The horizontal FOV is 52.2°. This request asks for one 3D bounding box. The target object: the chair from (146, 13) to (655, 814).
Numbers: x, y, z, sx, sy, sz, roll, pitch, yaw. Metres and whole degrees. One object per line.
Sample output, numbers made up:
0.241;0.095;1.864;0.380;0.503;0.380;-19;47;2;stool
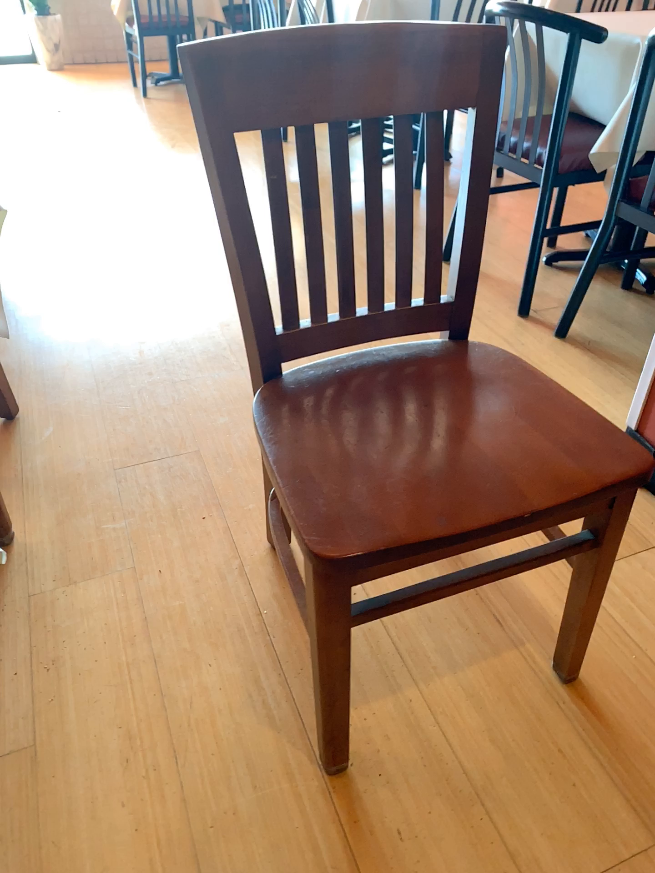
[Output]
0.127;-0.056;0.948;0.540;0.875;0.573;-12;37;-16;chair
